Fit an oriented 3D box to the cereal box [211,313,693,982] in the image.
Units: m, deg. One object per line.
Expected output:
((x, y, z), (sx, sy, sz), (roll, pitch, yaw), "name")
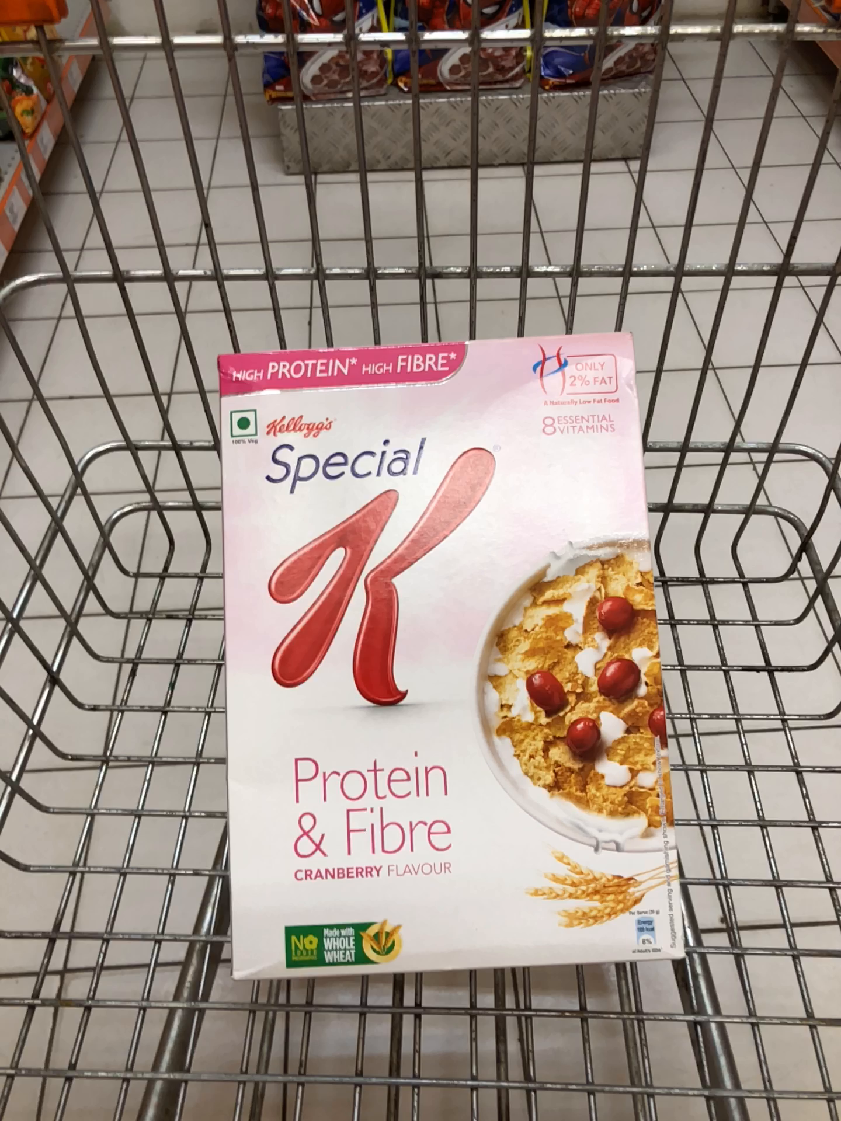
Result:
((0.010, 0.035, 0.437), (0.190, 0.100, 0.270), (-2, 85, -1), "cereal box")
